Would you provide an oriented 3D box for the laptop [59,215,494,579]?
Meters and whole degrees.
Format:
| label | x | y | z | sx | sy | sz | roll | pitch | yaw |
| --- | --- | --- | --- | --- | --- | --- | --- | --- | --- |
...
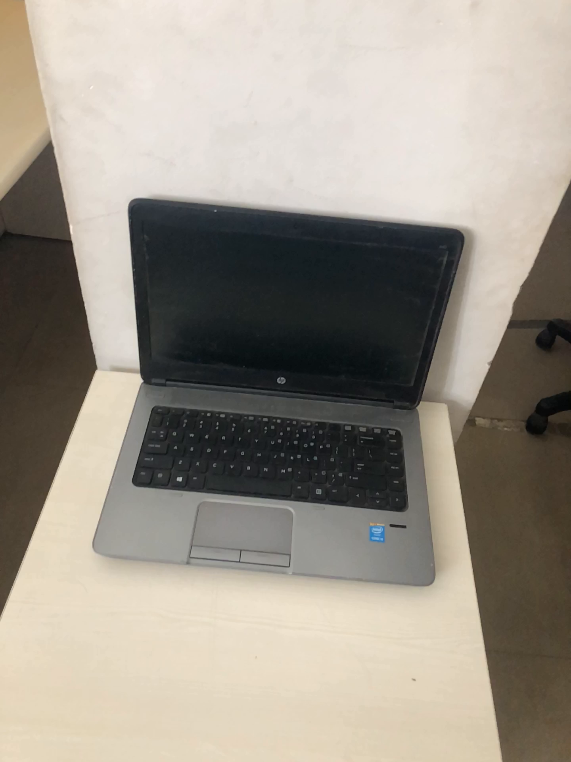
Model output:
| label | x | y | z | sx | sy | sz | roll | pitch | yaw |
| --- | --- | --- | --- | --- | --- | --- | --- | --- | --- |
| laptop | -0.001 | 0.014 | 0.594 | 0.304 | 0.209 | 0.238 | 6 | 46 | 0 |
